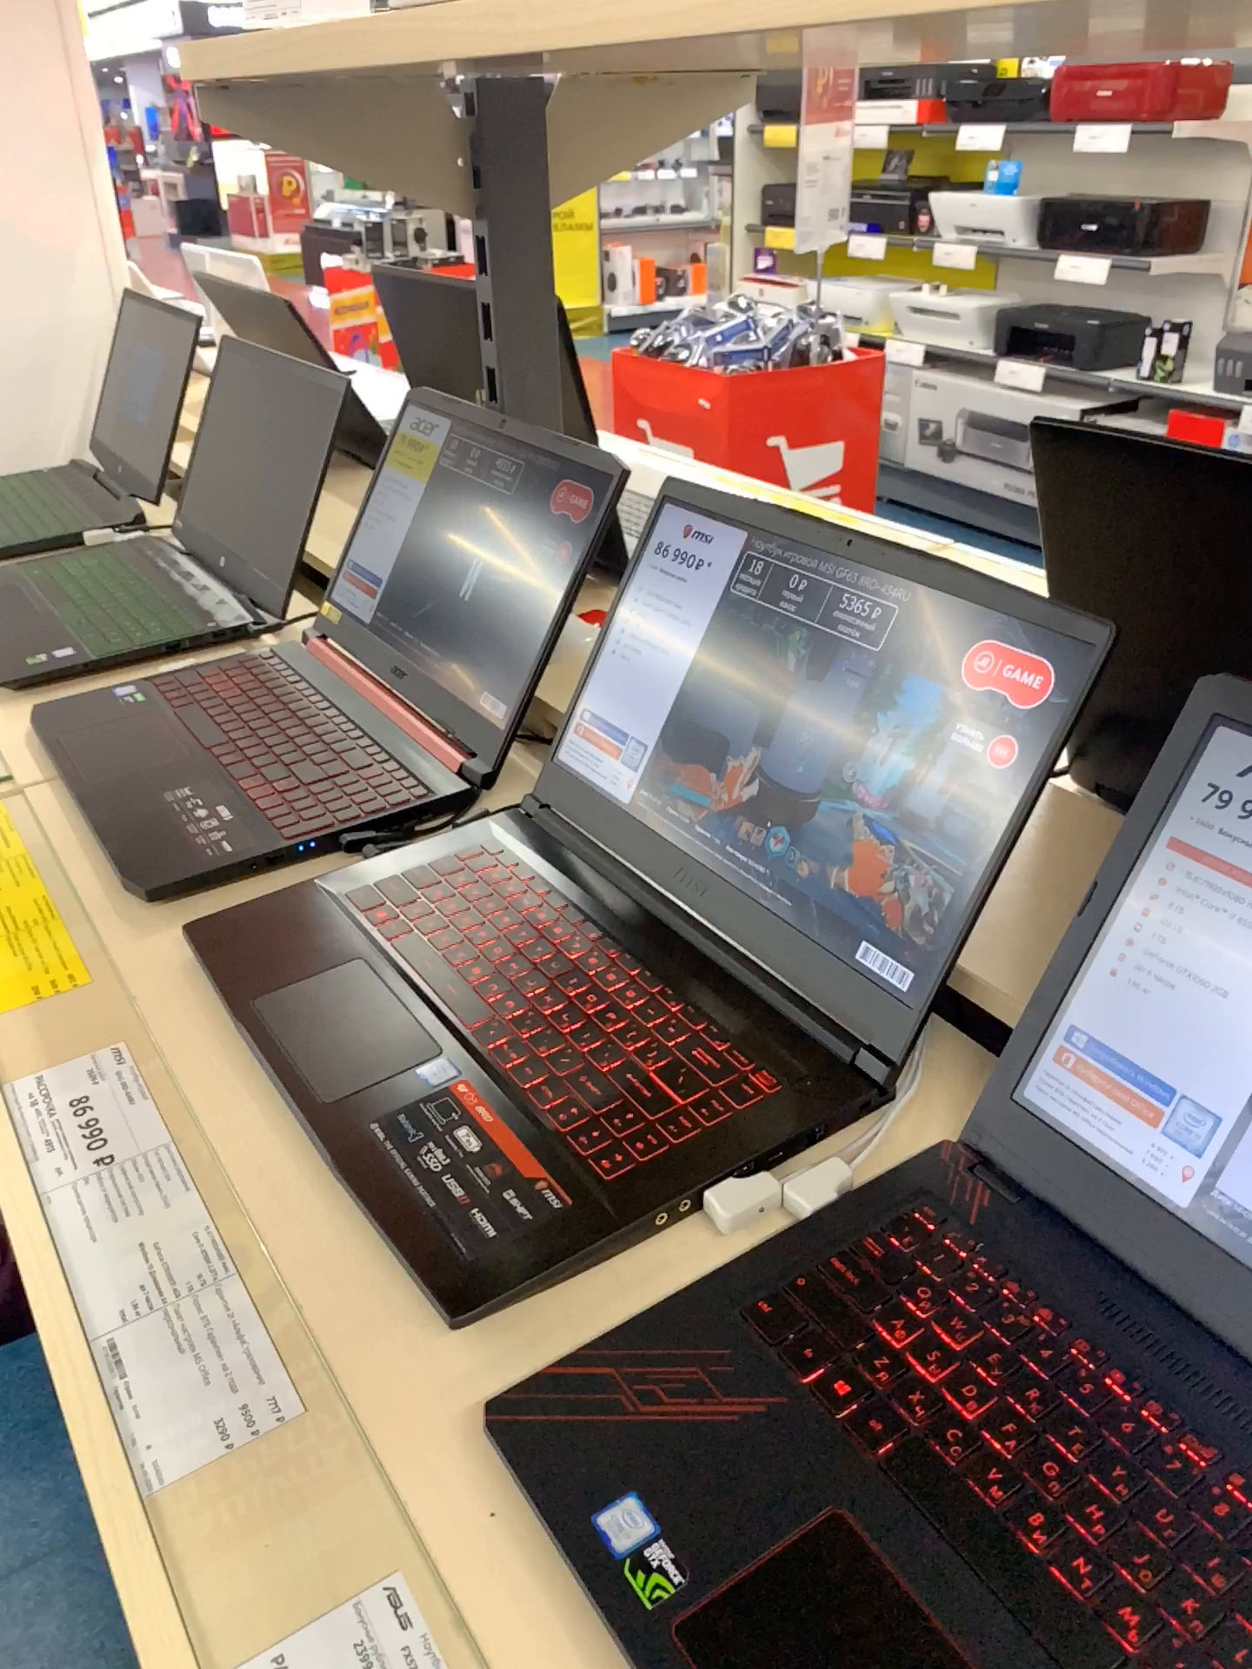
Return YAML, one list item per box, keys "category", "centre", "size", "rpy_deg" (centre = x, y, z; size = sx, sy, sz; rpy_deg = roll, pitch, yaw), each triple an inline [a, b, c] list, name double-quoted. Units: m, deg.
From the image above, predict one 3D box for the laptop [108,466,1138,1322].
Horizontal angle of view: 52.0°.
- category: "laptop"
  centre: [-0.016, -0.023, 0.679]
  size: [0.370, 0.204, 0.352]
  rpy_deg: [-21, 35, -28]

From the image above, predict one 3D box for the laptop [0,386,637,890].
- category: "laptop"
  centre: [-0.246, -0.176, 0.954]
  size: [0.371, 0.211, 0.336]
  rpy_deg: [-19, 33, -27]
